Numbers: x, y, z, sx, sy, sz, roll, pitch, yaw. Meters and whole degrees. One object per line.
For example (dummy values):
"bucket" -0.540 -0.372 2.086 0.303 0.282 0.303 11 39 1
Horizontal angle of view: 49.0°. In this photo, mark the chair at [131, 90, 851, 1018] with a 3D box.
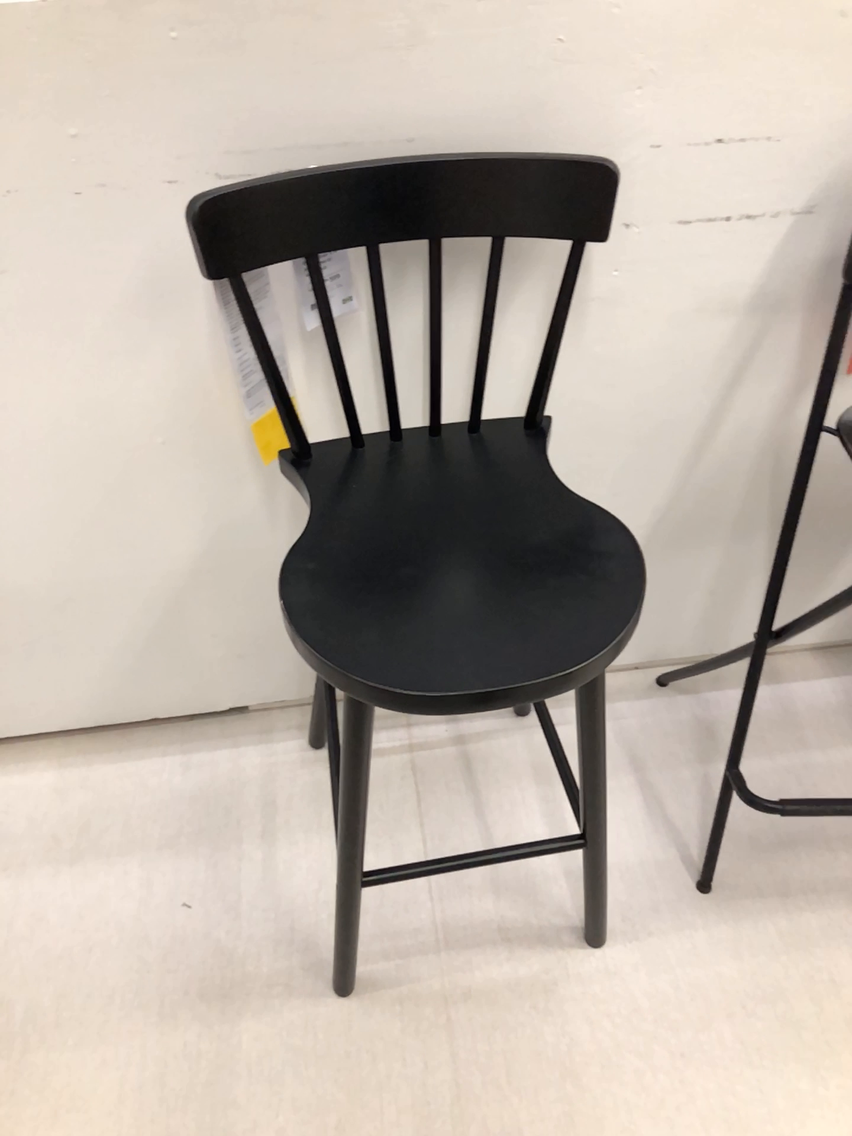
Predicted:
"chair" 0.024 0.044 1.027 0.460 0.874 0.483 -9 46 -7
